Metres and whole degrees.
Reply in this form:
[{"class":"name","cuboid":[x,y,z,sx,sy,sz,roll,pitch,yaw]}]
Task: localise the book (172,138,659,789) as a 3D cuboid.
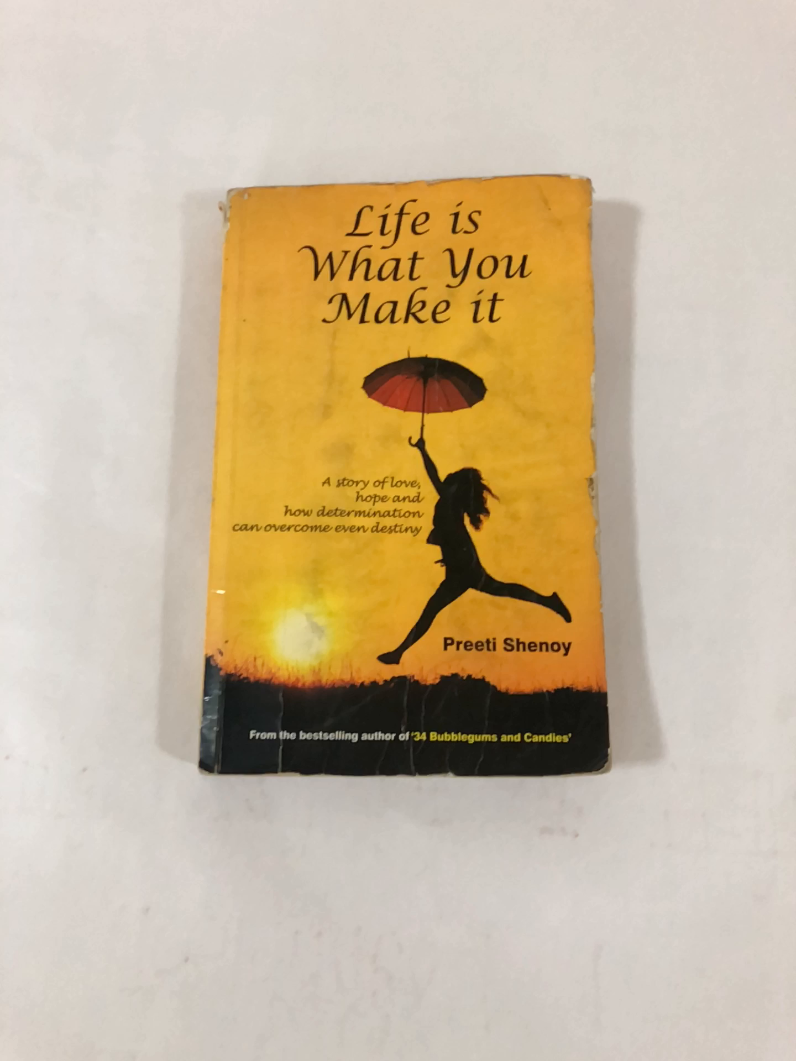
[{"class":"book","cuboid":[0.005,-0.027,0.287,0.140,0.020,0.210,0,78,1]}]
